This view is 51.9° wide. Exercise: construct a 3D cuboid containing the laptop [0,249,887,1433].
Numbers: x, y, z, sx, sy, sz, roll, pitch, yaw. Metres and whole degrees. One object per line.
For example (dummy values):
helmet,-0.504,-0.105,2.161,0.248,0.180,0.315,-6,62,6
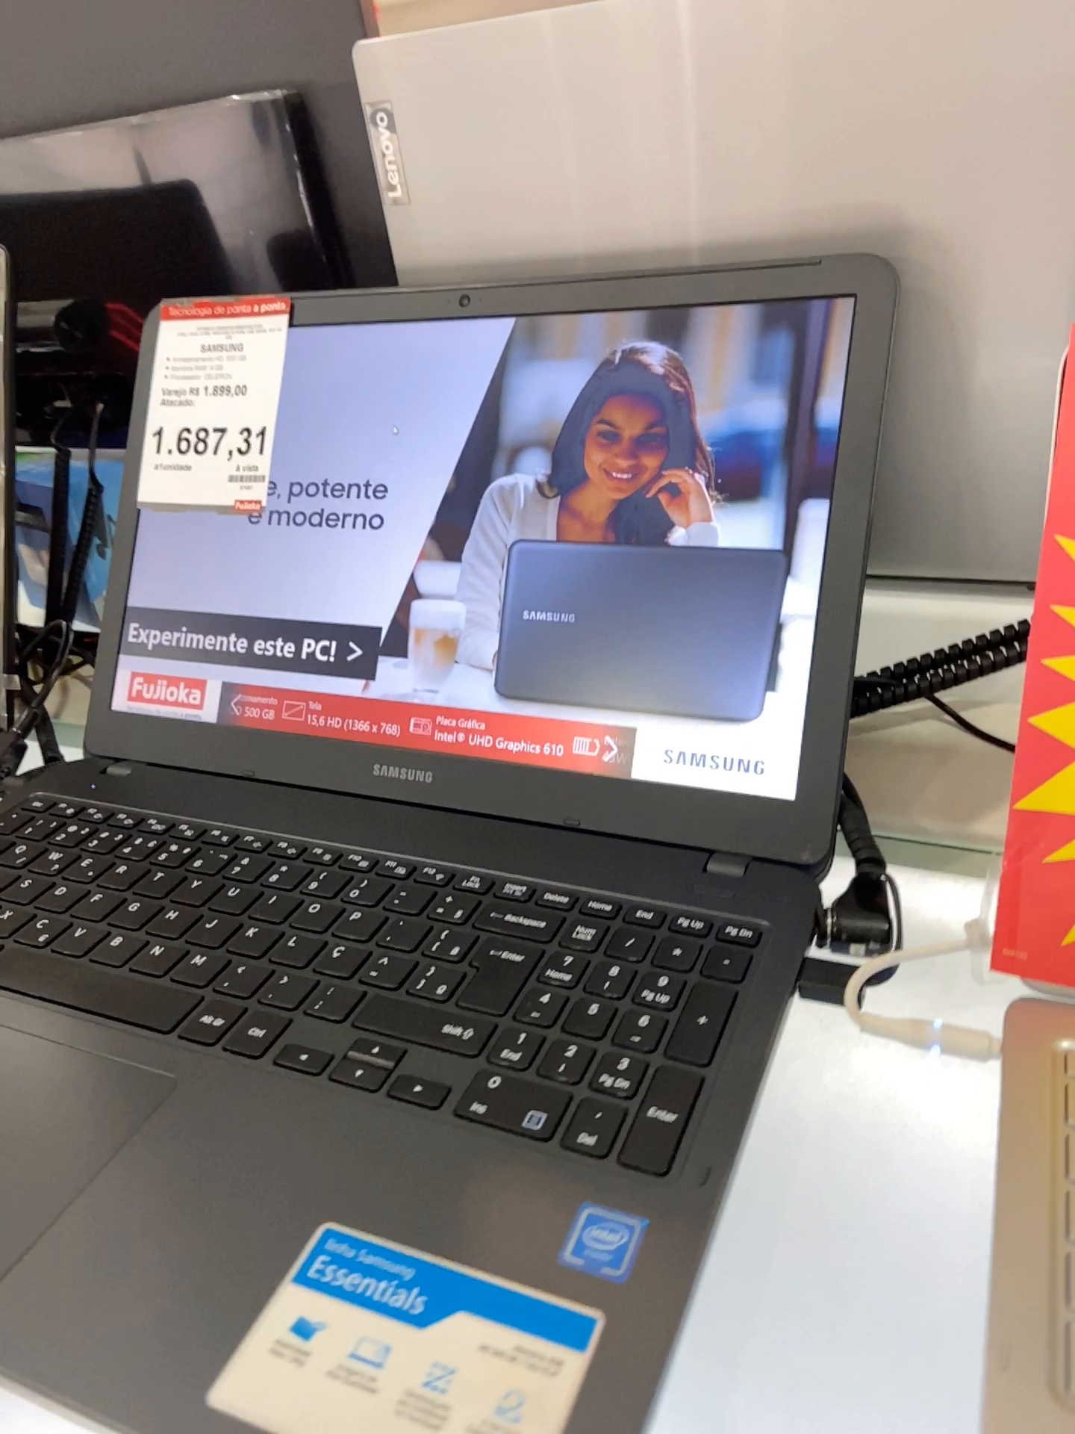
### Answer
laptop,-0.098,-0.020,0.389,0.366,0.197,0.372,5,29,25
